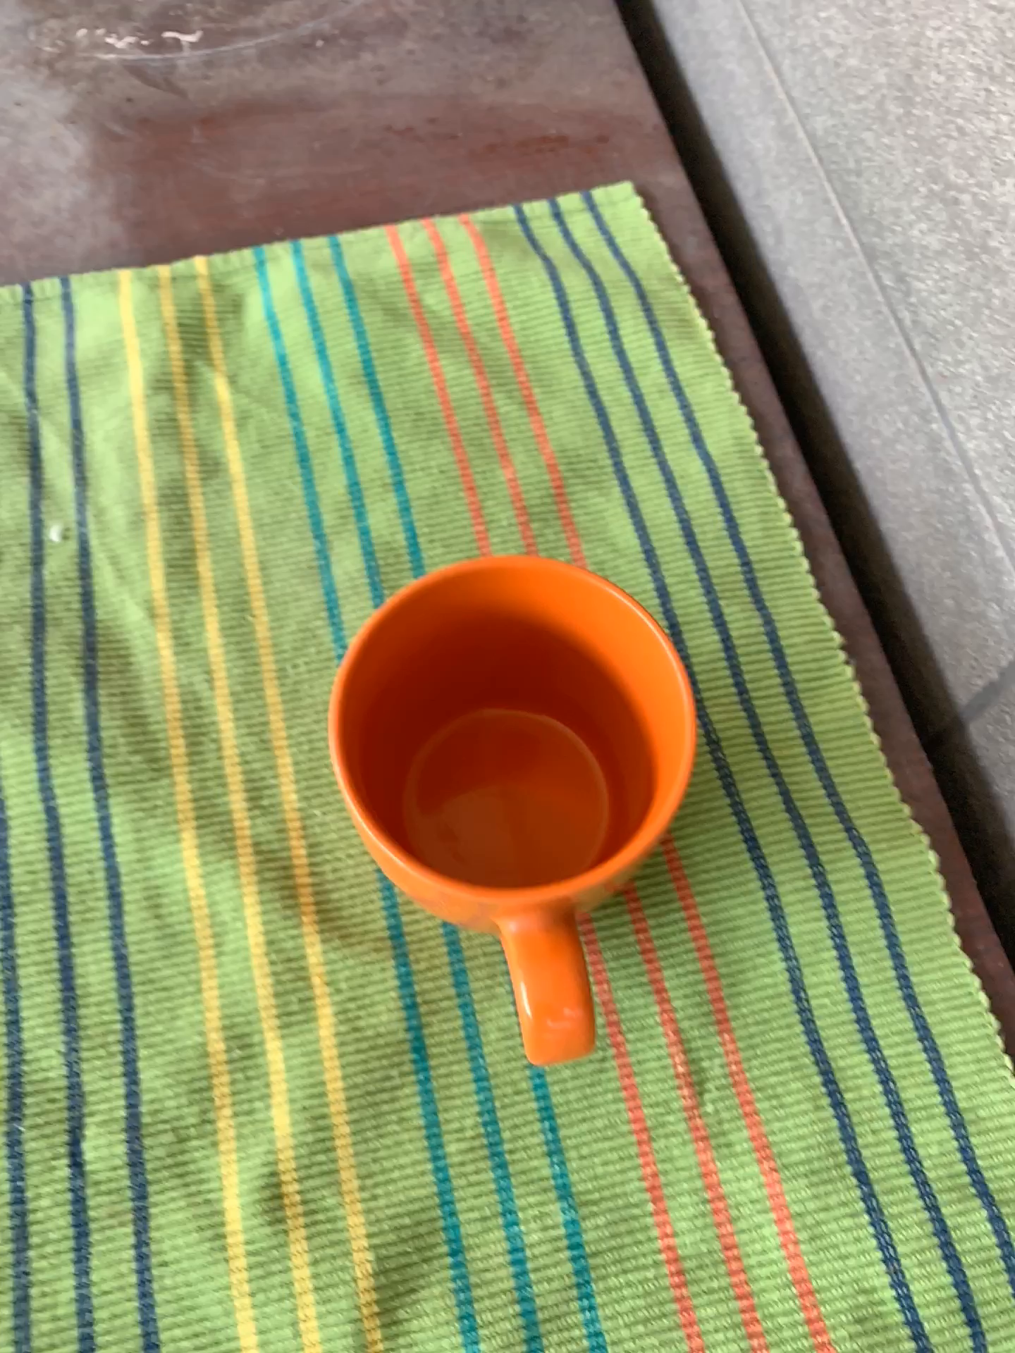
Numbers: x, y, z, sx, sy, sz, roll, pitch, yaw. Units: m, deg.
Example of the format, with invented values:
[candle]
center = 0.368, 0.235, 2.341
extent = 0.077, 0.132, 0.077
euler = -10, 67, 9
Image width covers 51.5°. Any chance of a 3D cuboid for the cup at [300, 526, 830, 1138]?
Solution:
[cup]
center = 0.006, 0.041, 0.268
extent = 0.090, 0.080, 0.120
euler = -11, 66, -8
